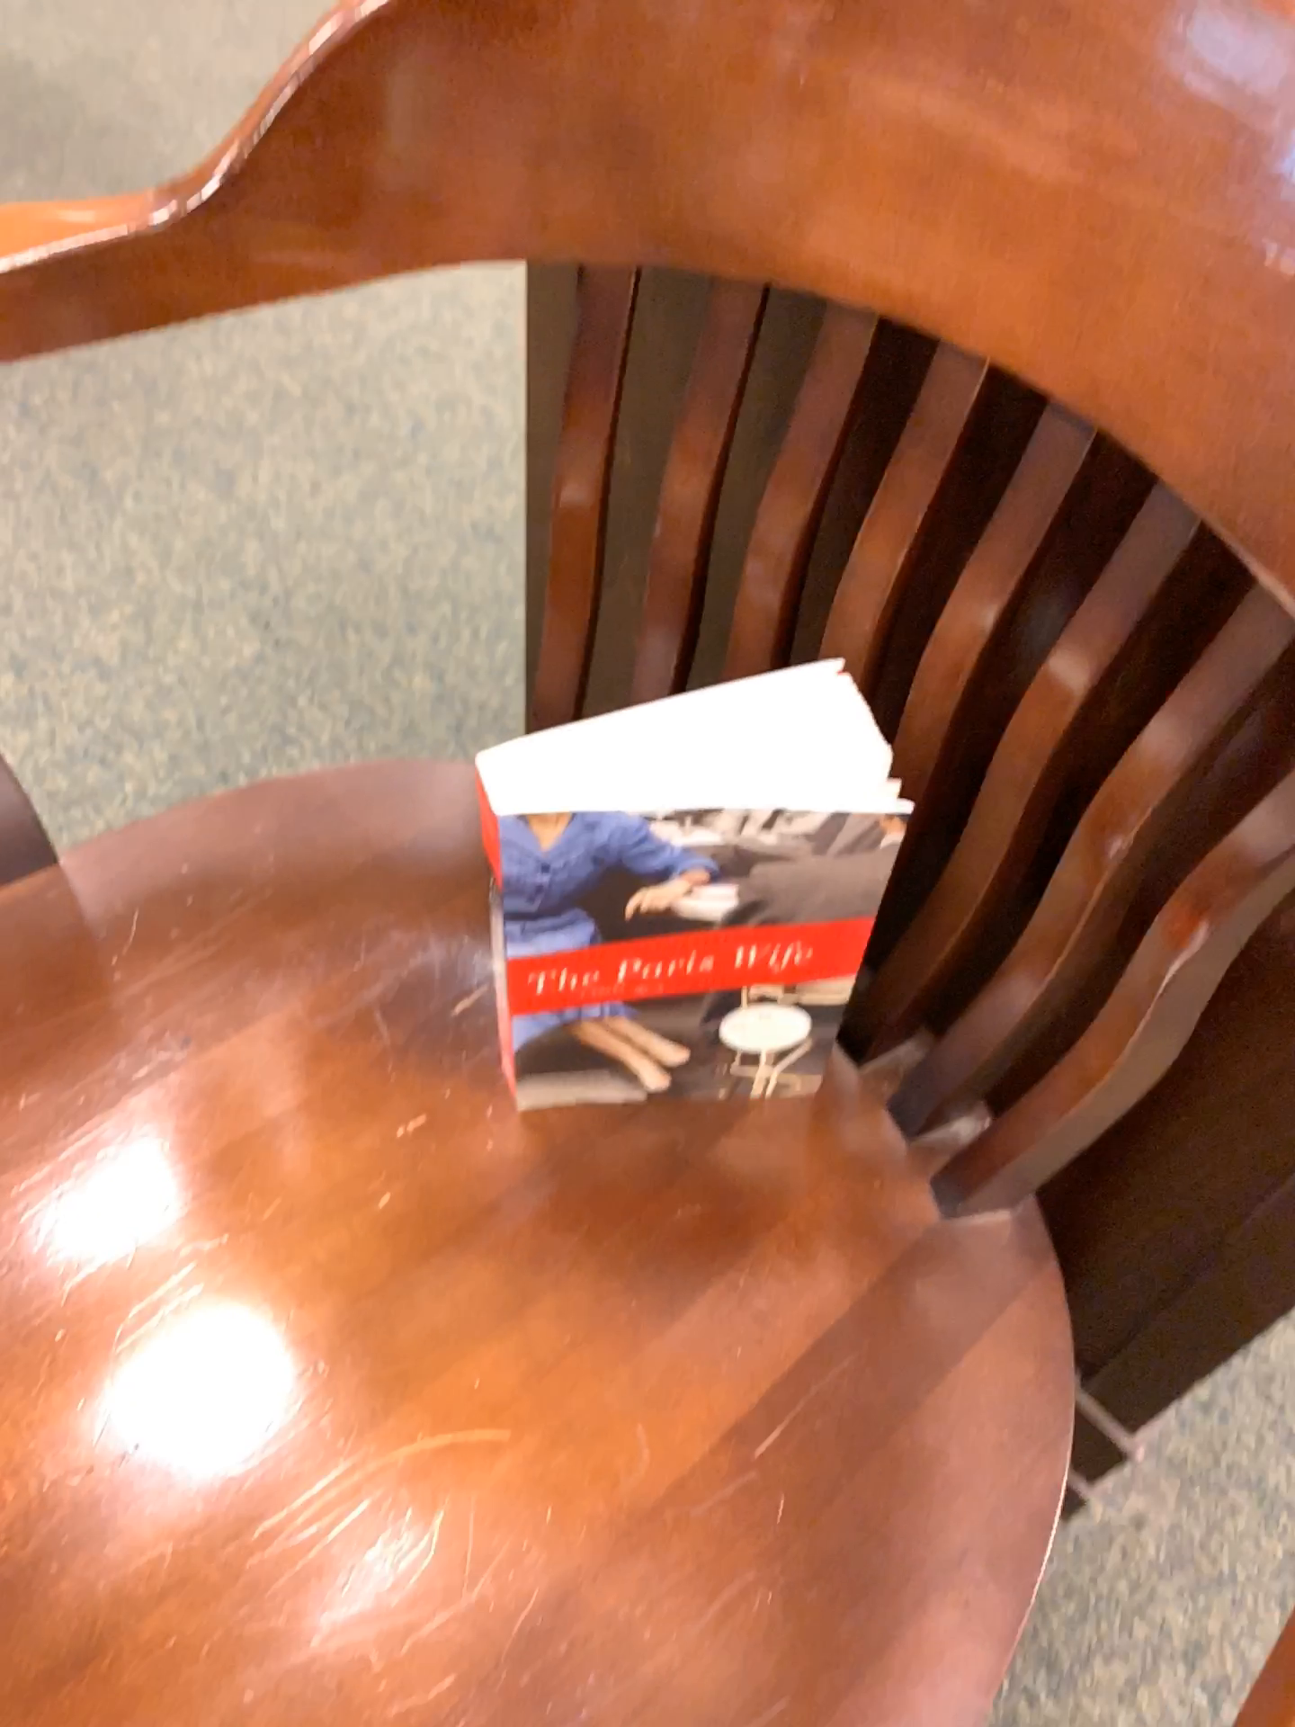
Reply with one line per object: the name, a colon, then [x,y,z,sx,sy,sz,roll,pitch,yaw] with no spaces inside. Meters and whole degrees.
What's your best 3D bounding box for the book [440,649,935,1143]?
book: [0.004,0.021,0.512,0.150,0.199,0.071,-6,54,-10]
